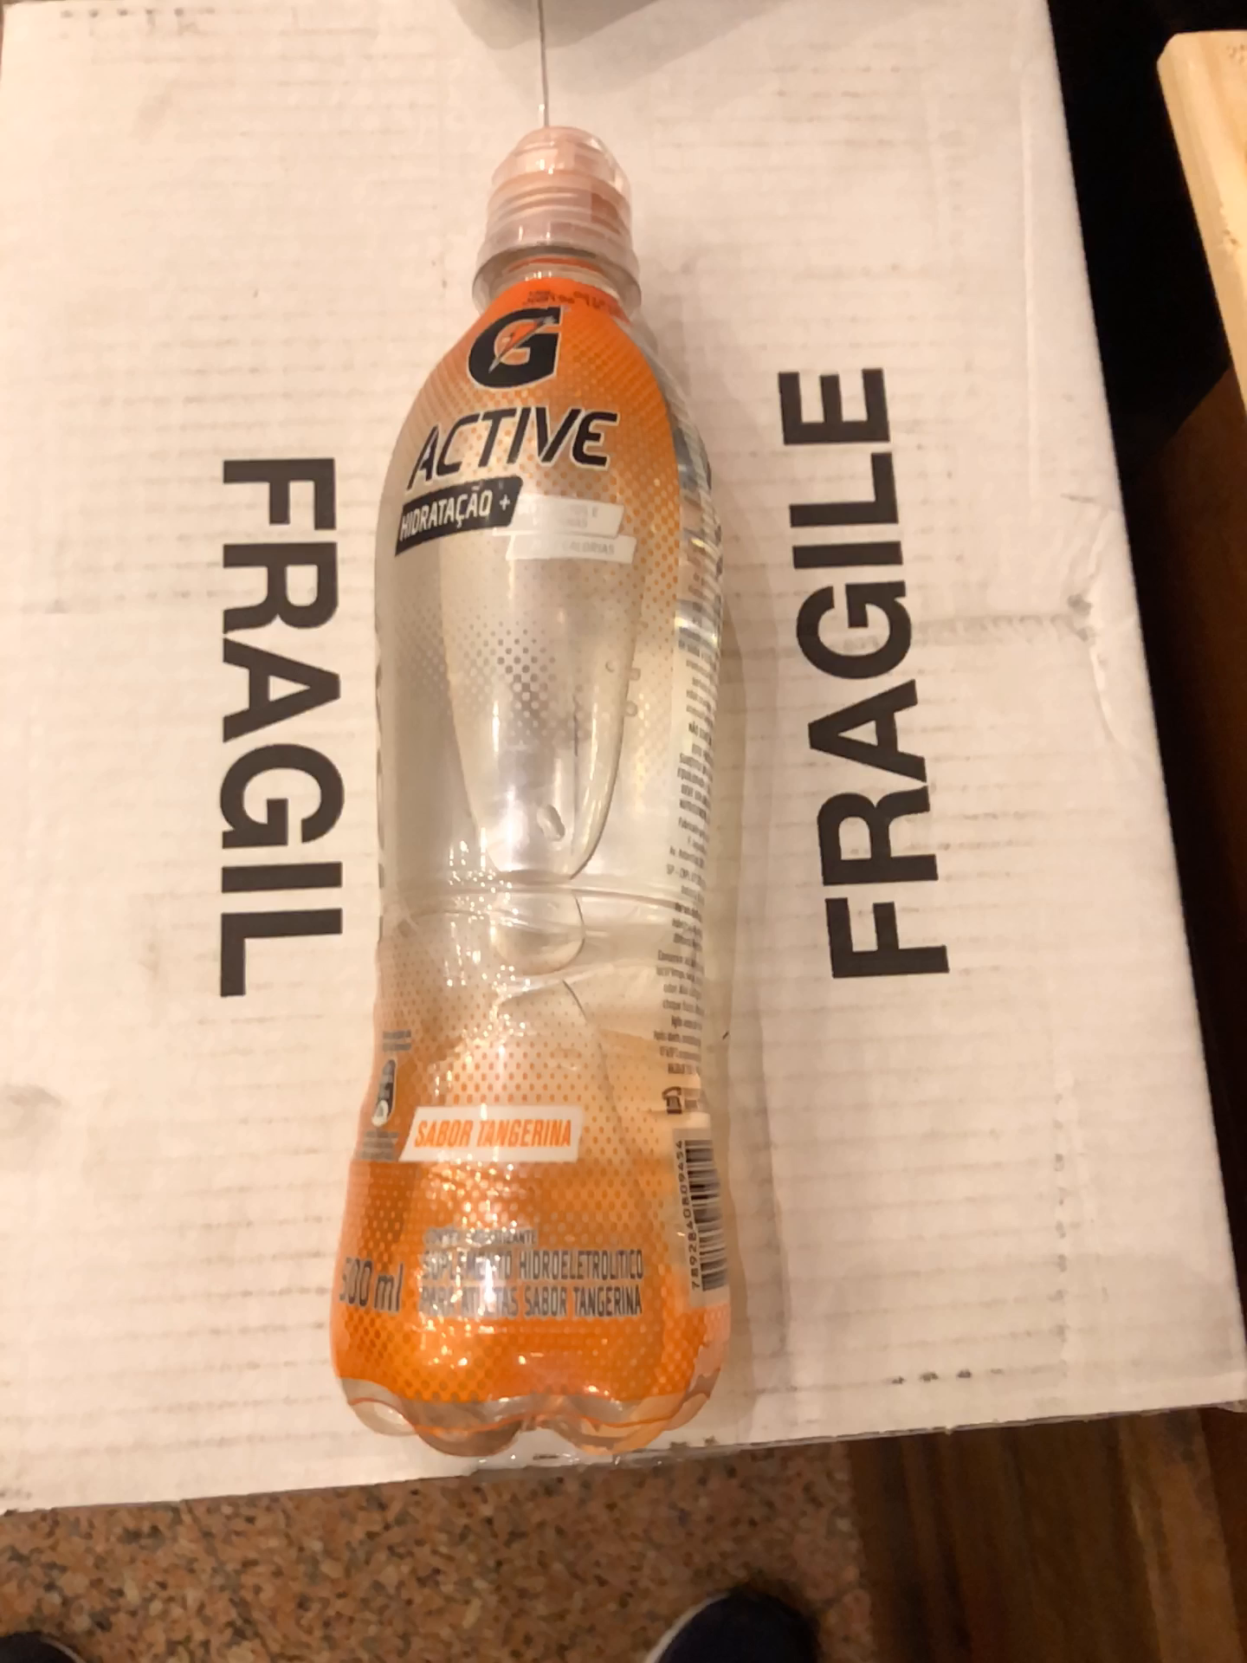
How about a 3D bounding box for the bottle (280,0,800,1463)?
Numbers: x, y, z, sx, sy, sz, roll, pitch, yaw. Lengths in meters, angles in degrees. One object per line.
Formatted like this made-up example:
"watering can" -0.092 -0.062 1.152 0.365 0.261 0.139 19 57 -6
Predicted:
"bottle" -0.010 -0.031 0.245 0.070 0.060 0.250 2 77 -2
